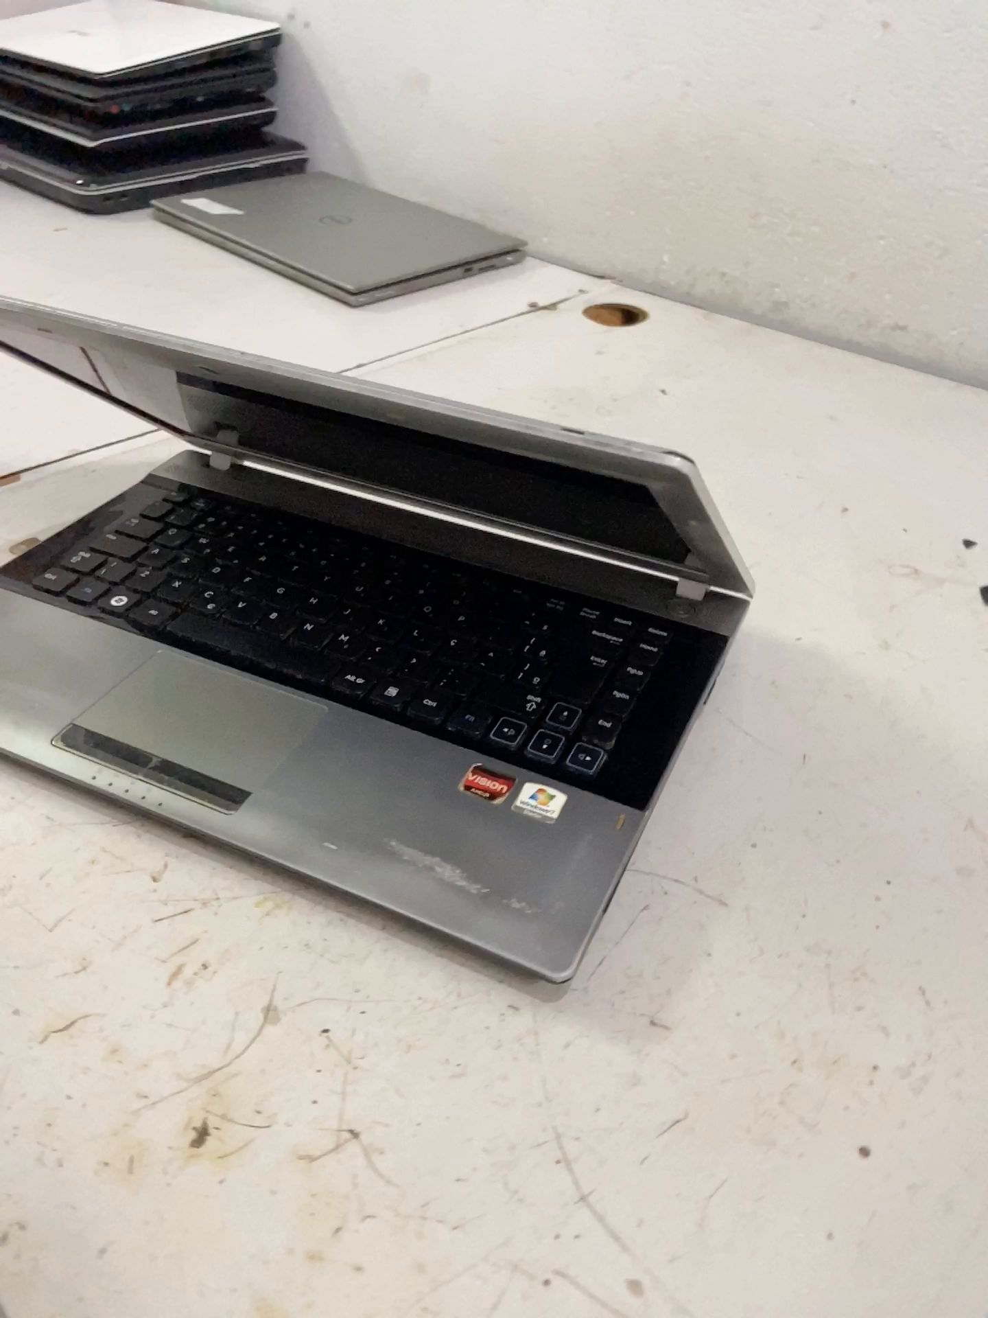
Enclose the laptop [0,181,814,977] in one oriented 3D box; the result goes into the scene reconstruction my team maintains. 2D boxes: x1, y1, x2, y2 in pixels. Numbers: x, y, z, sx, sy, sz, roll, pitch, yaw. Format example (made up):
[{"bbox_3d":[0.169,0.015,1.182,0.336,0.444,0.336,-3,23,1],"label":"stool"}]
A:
[{"bbox_3d":[-0.080,-0.070,0.424,0.344,0.150,0.234,17,41,19],"label":"laptop"}]
